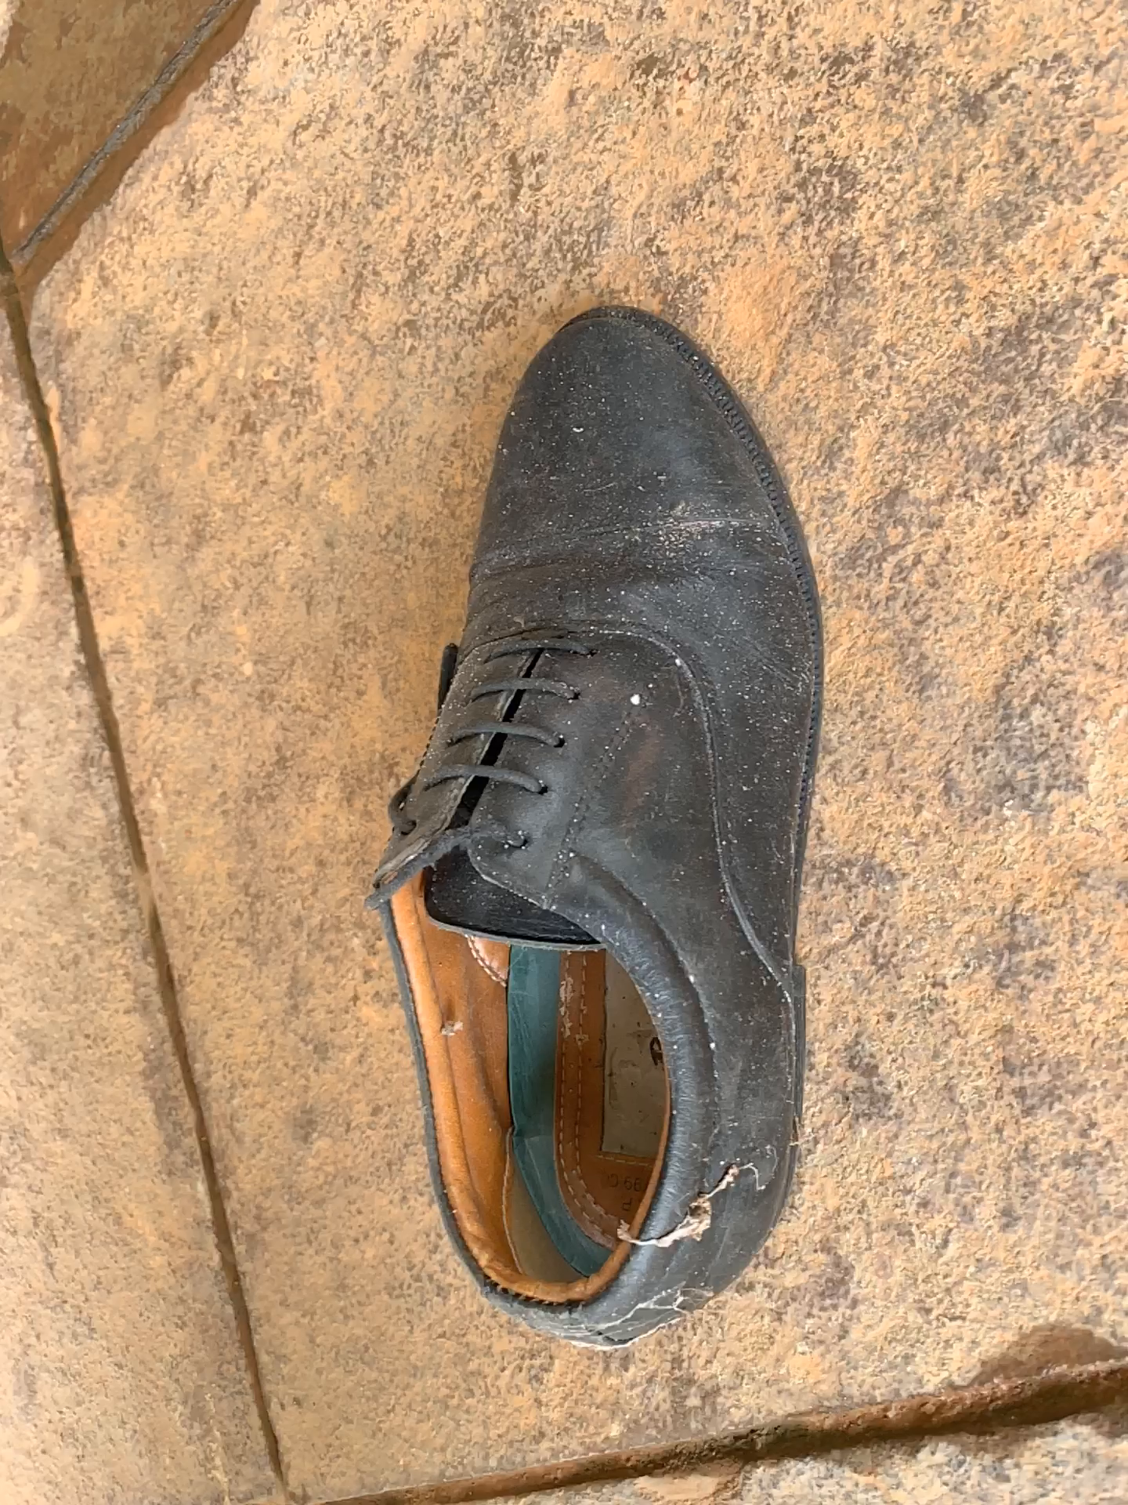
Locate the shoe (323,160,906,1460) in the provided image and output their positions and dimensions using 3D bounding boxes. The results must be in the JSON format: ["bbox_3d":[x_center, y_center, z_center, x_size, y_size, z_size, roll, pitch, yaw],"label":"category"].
[{"bbox_3d":[0.010,0.012,0.305,0.100,0.090,0.270,-10,80,35],"label":"shoe"}]
